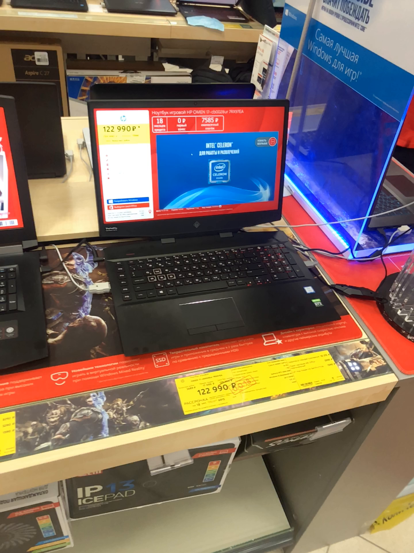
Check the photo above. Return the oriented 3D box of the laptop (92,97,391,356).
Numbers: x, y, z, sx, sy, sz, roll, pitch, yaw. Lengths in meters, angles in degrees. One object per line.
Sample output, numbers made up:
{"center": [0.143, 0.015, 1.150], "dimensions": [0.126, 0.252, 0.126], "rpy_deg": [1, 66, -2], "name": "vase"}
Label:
{"center": [0.019, -0.120, 0.823], "dimensions": [0.392, 0.246, 0.377], "rpy_deg": [-7, 45, -16], "name": "laptop"}
